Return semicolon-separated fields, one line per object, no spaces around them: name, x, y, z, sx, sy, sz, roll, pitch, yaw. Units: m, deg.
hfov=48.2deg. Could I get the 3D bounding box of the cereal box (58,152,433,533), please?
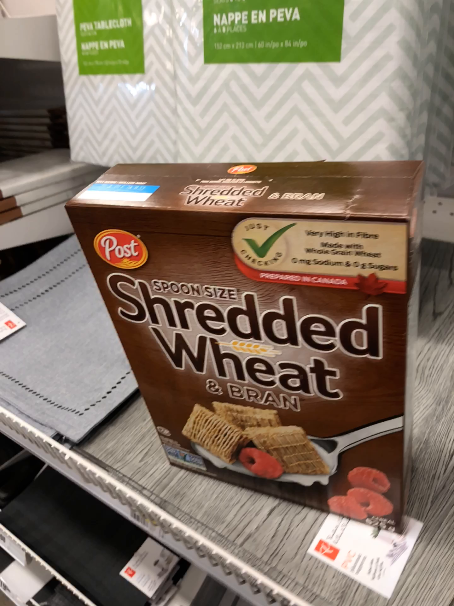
cereal box;0.026;0.032;0.360;0.200;0.259;0.070;8;41;25
